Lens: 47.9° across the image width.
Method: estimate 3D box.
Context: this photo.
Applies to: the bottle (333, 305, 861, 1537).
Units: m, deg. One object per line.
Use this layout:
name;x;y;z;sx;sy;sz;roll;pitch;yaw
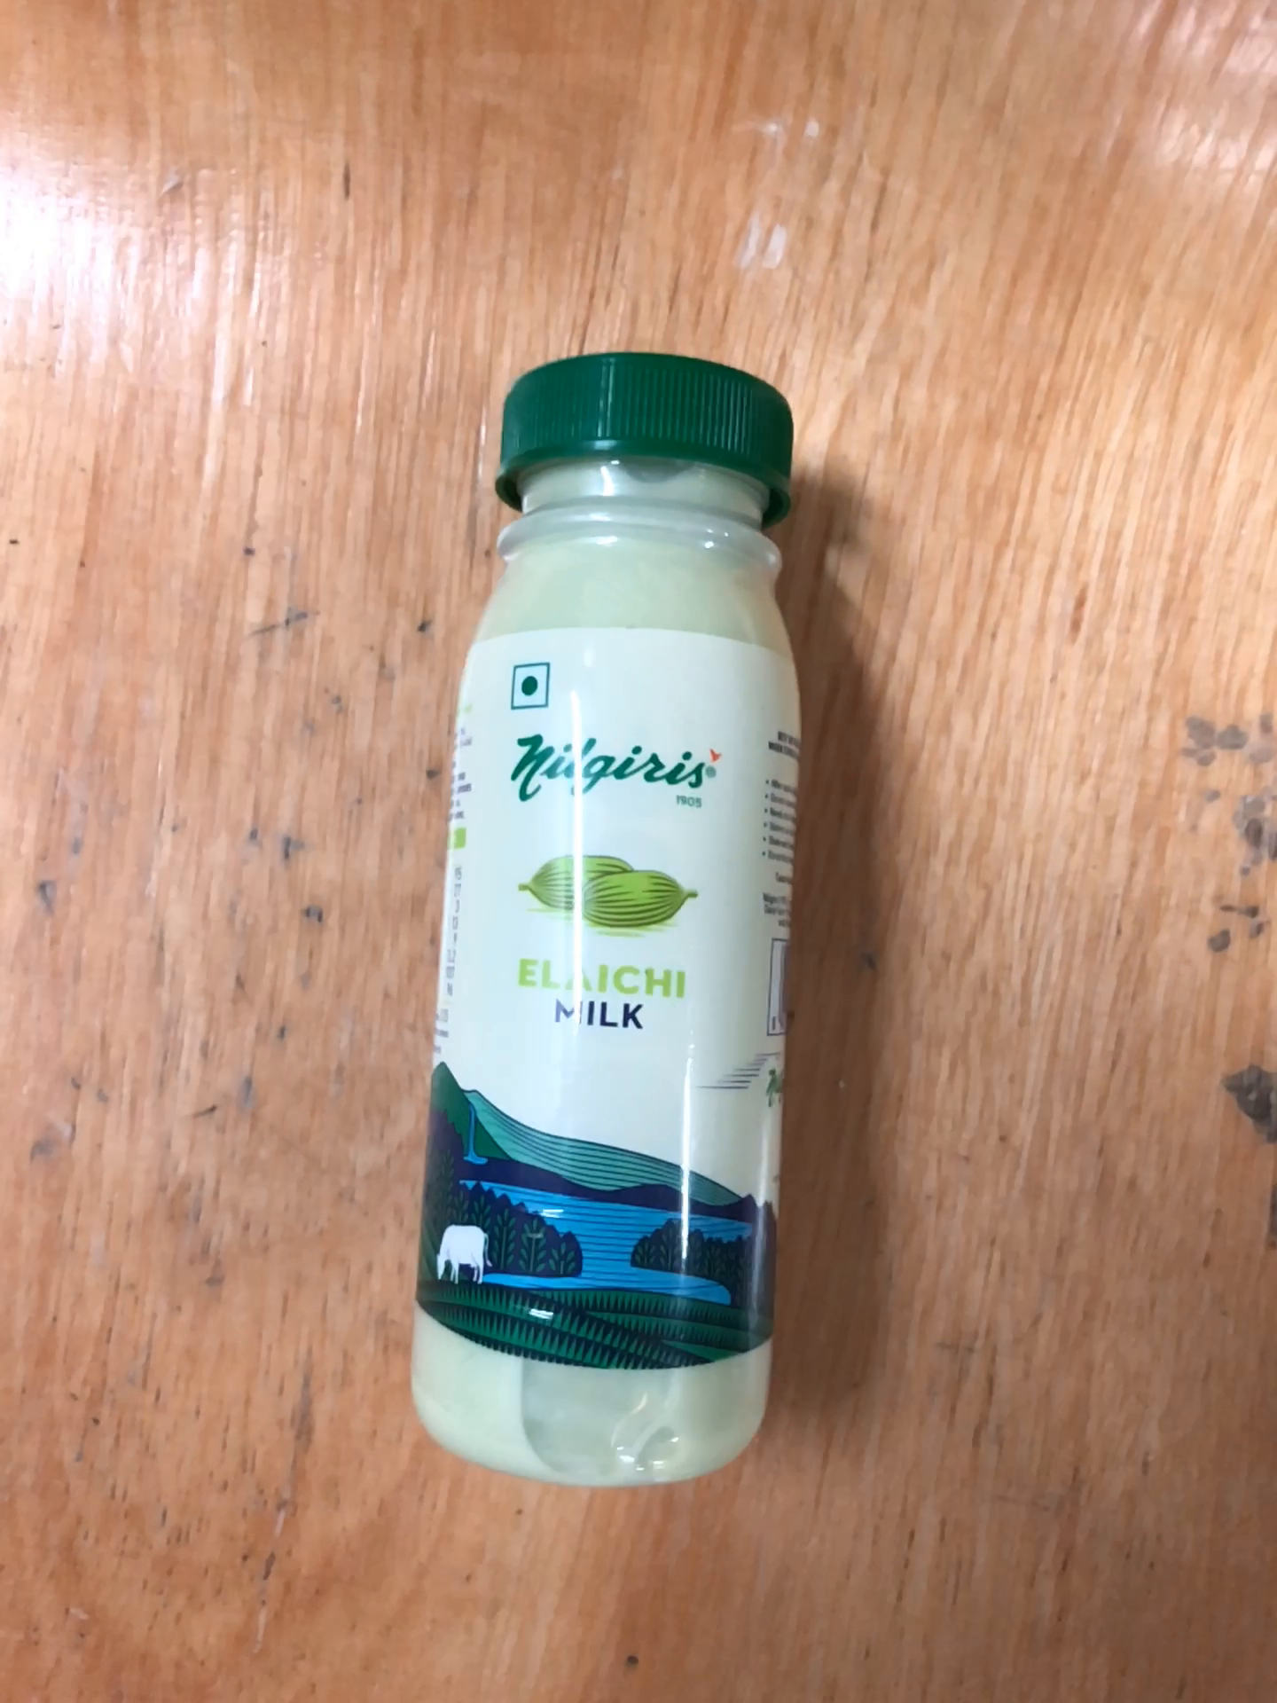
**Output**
bottle;-0.005;0.008;0.188;0.050;0.040;0.140;5;87;-2
